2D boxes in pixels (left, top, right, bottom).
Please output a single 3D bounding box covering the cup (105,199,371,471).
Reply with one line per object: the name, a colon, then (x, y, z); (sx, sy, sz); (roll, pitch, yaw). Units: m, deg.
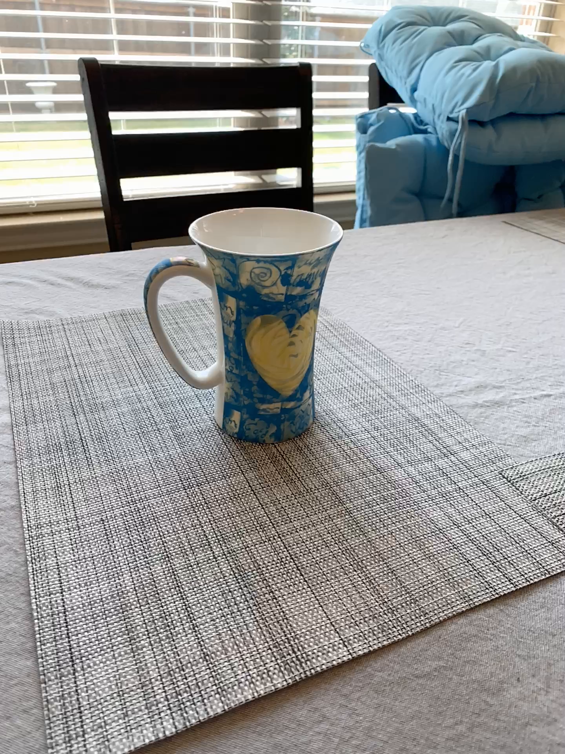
cup: (-0.035, -0.036, 0.418); (0.152, 0.148, 0.100); (-9, 32, -18)
